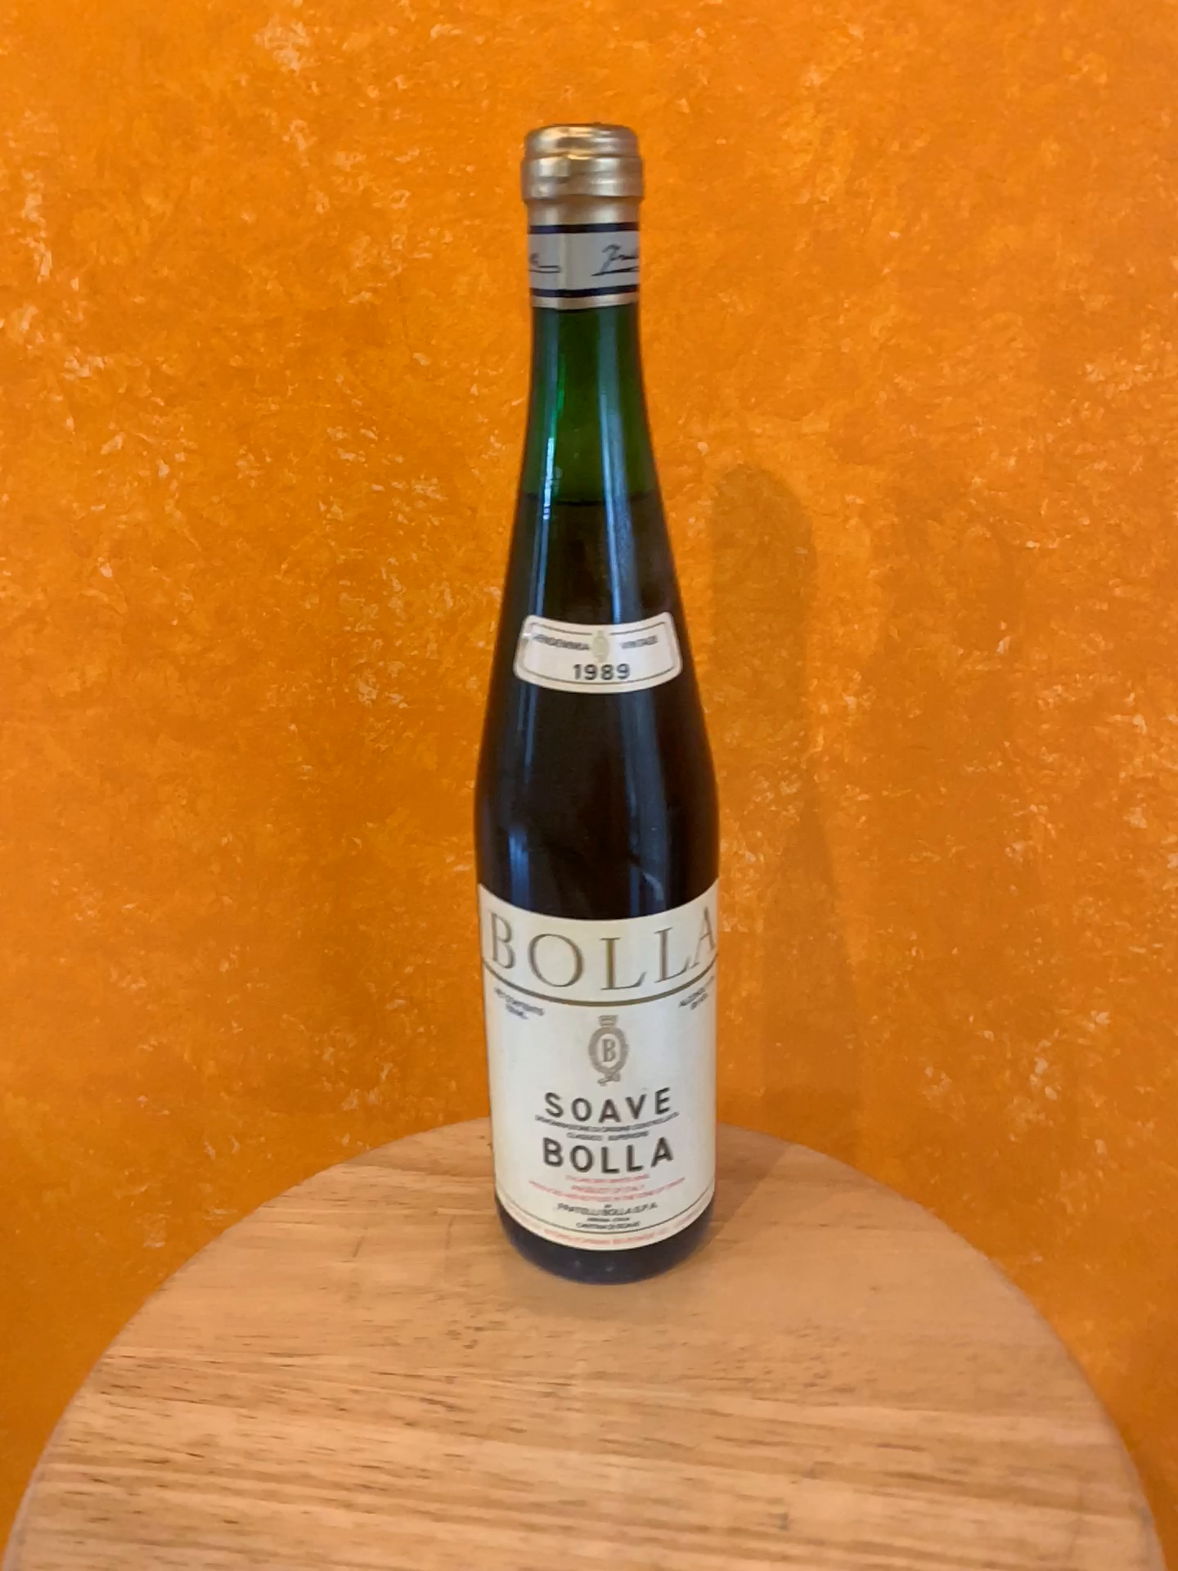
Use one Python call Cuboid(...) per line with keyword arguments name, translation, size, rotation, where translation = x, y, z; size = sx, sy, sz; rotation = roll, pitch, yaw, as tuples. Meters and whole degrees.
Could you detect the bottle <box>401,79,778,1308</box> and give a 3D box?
Cuboid(name="bottle", translation=(0.003, -0.006, 0.354), size=(0.080, 0.338, 0.070), rotation=(-1, 22, 0))
